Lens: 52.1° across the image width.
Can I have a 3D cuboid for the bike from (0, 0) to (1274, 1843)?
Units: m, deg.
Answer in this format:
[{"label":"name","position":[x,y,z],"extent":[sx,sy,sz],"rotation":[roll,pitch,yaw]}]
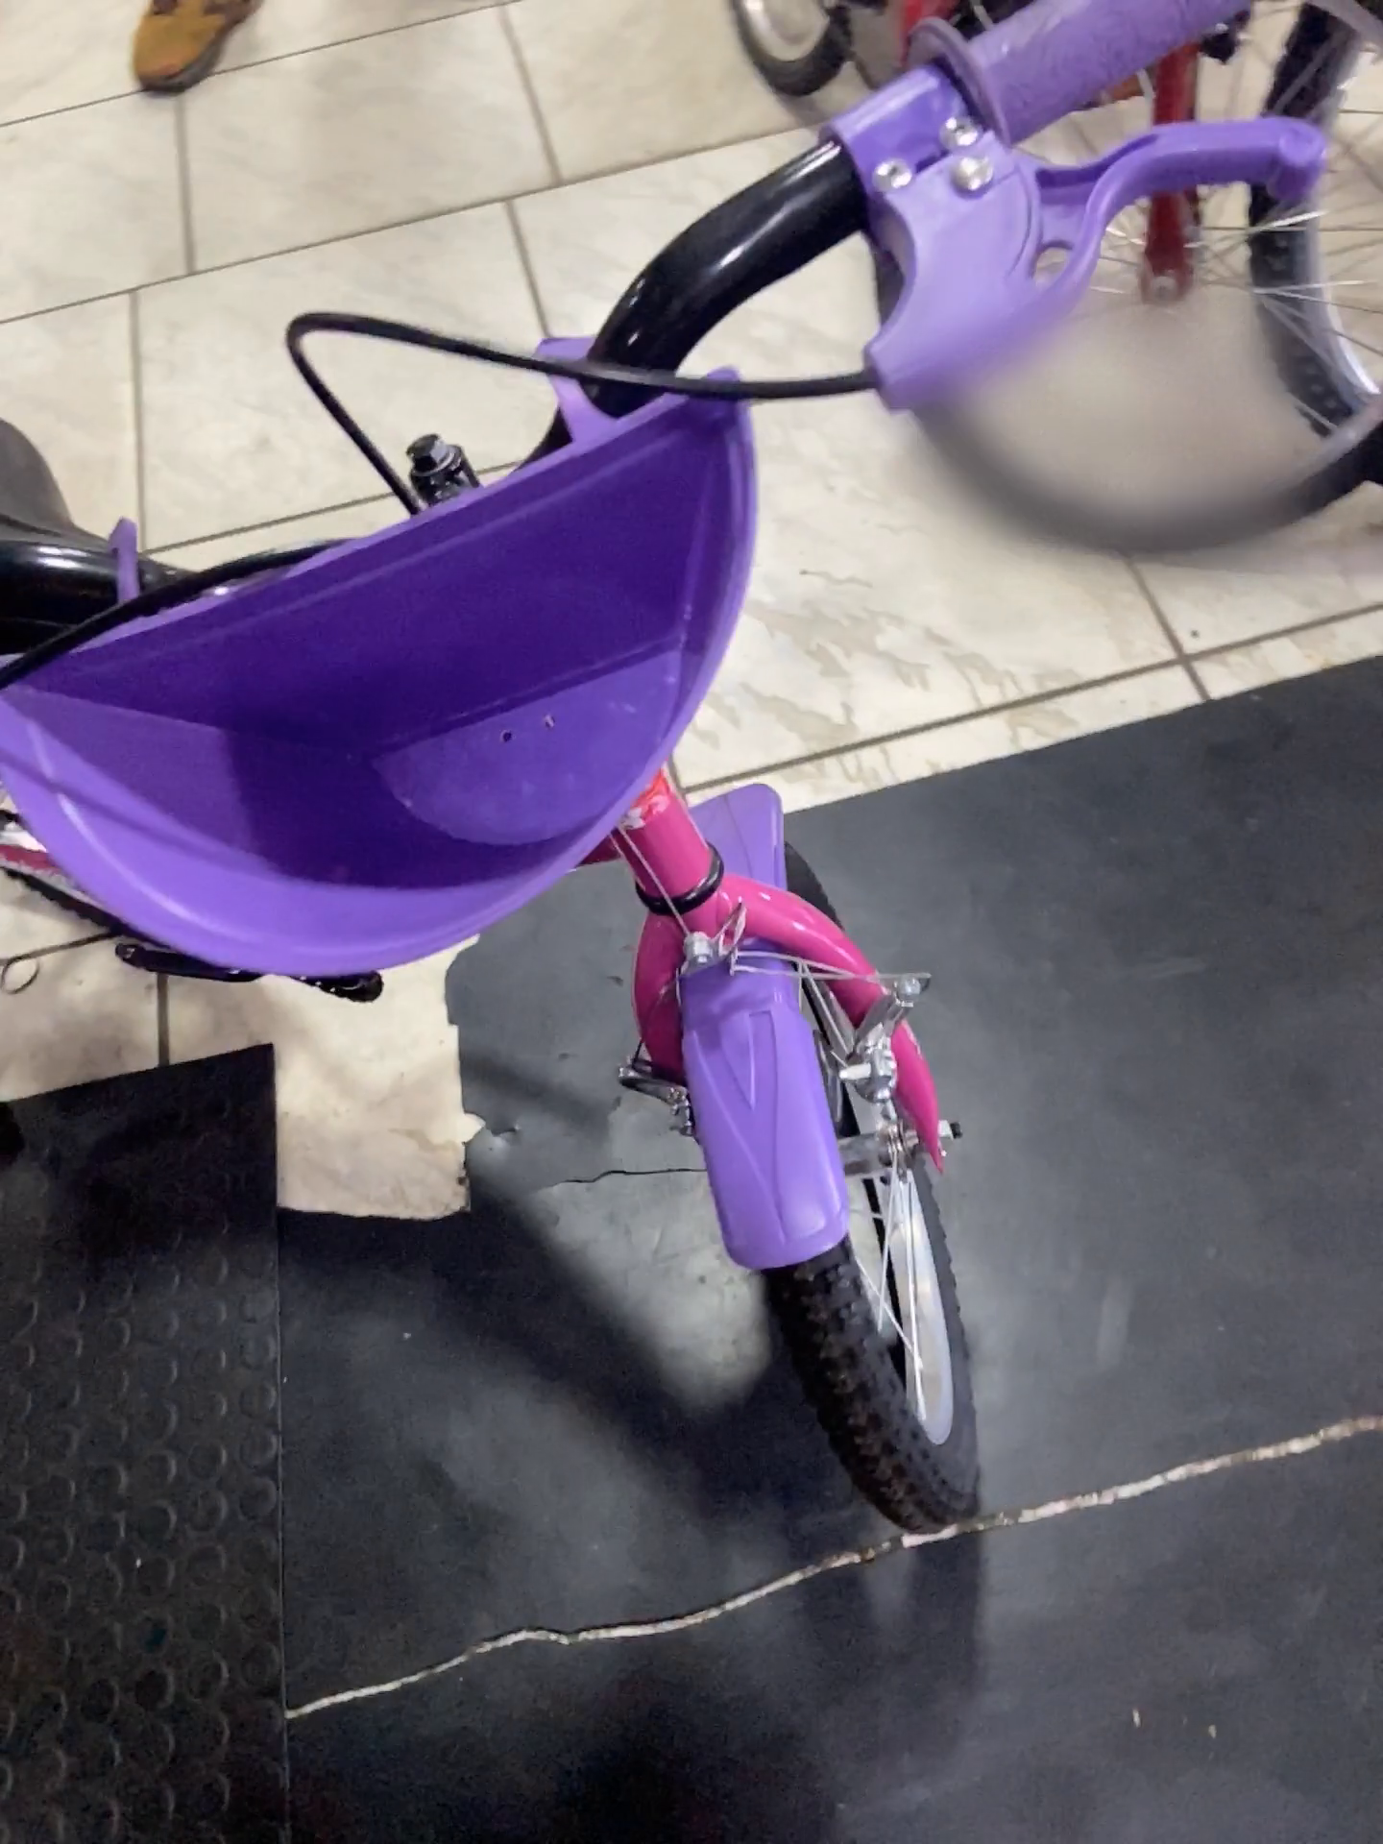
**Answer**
[{"label":"bike","position":[-0.287,0.010,0.712],"extent":[0.922,0.703,0.547],"rotation":[30,67,20]}]
